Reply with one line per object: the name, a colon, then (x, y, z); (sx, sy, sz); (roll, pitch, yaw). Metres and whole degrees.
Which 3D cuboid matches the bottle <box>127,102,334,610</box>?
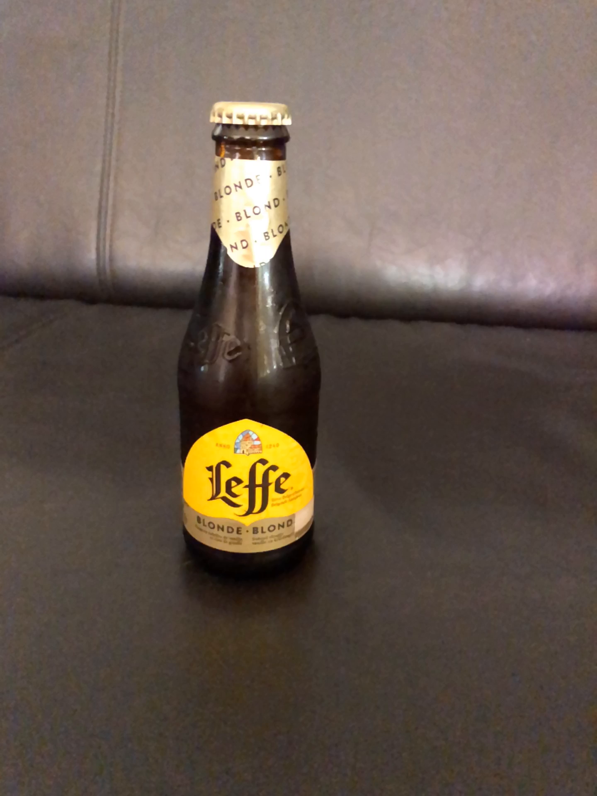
bottle: (-0.023, -0.012, 0.261); (0.060, 0.189, 0.060); (0, 26, 0)
